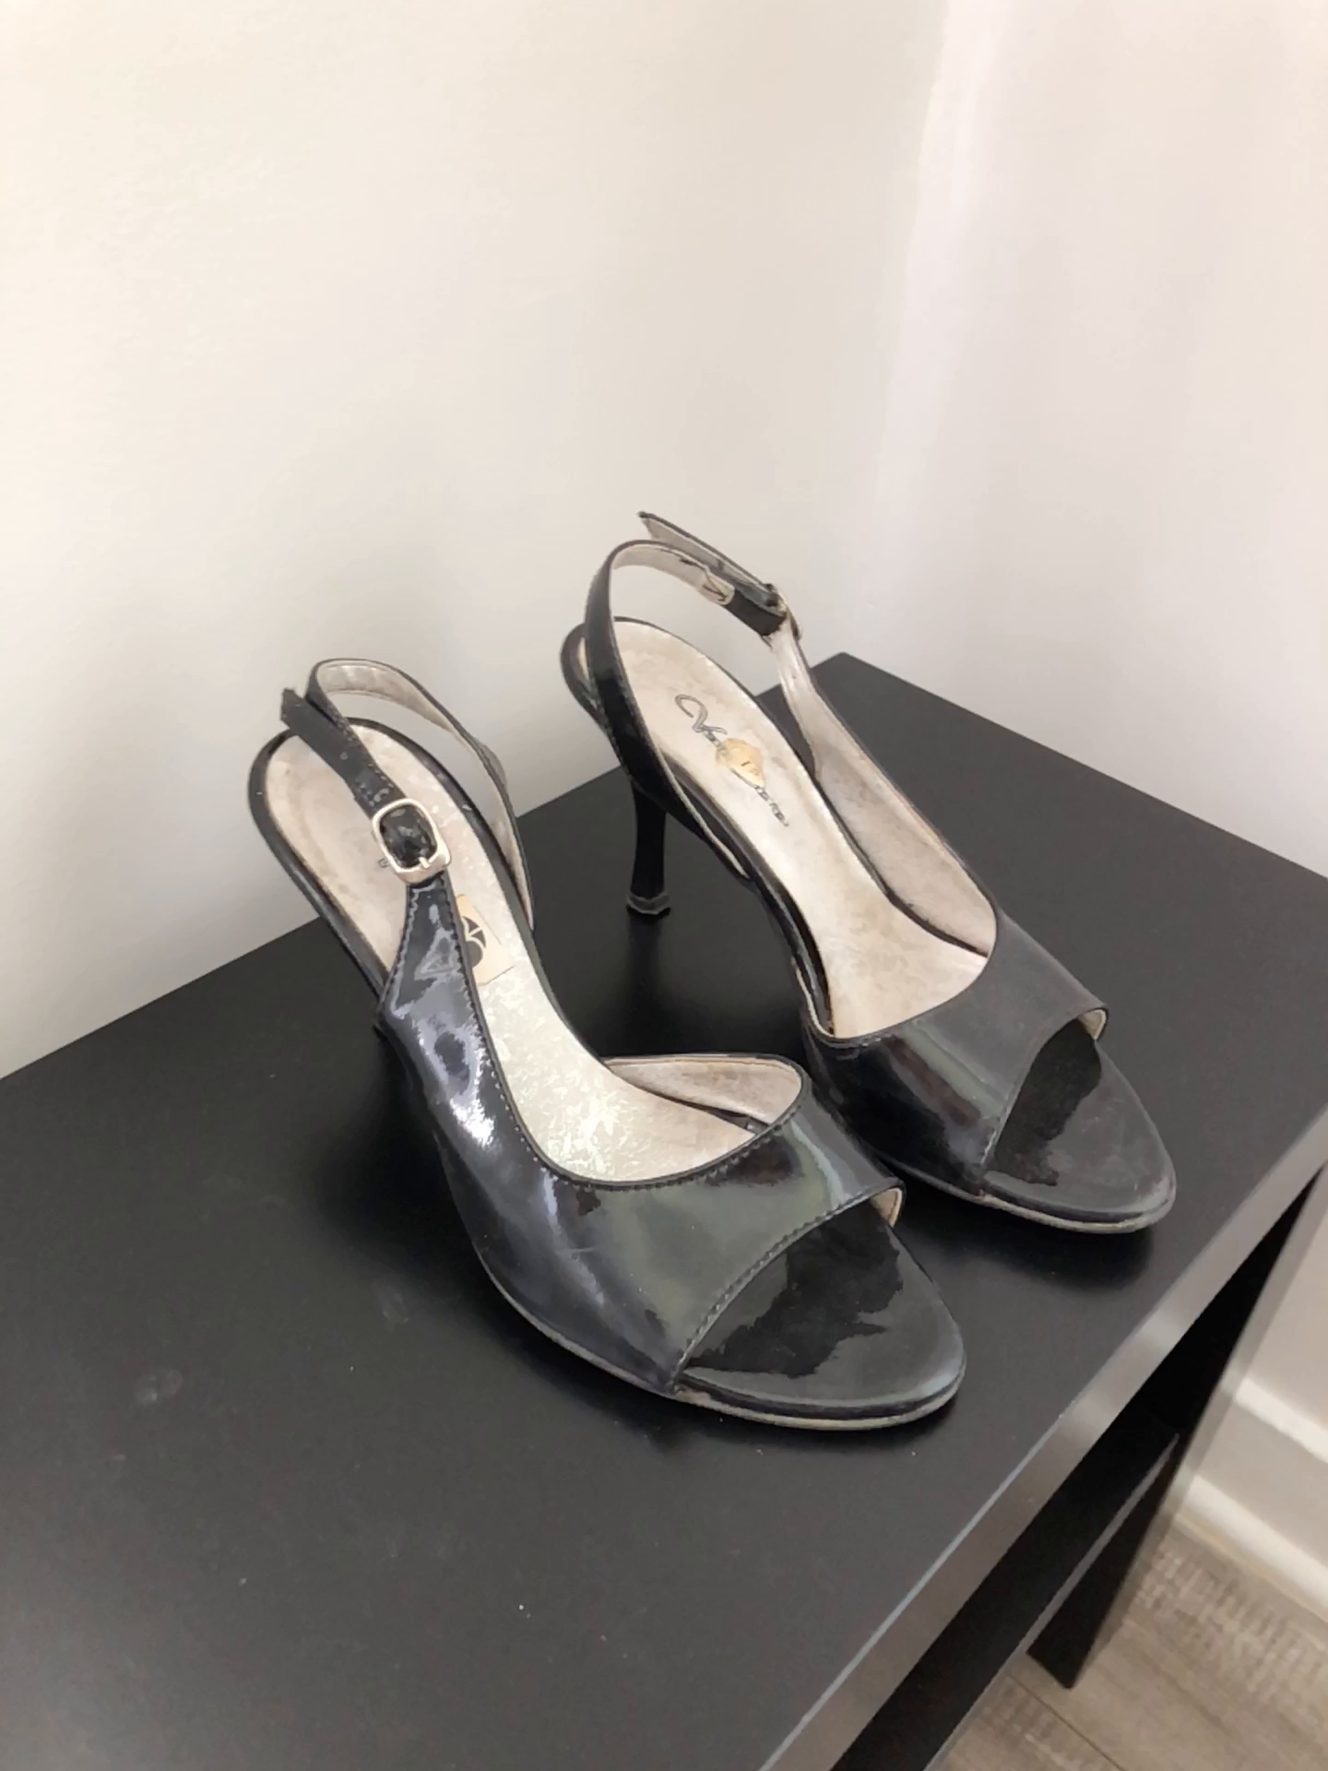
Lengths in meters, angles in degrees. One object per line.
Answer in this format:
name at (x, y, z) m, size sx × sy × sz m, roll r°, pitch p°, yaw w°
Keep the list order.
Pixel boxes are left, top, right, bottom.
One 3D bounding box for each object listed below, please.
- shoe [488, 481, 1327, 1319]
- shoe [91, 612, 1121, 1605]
shoe at (0.053, -0.010, 0.383) m, size 0.083 × 0.110 × 0.211 m, roll -28°, pitch 47°, yaw -35°
shoe at (-0.024, 0.036, 0.334) m, size 0.211 × 0.110 × 0.083 m, roll 29°, pitch 43°, yaw 29°
